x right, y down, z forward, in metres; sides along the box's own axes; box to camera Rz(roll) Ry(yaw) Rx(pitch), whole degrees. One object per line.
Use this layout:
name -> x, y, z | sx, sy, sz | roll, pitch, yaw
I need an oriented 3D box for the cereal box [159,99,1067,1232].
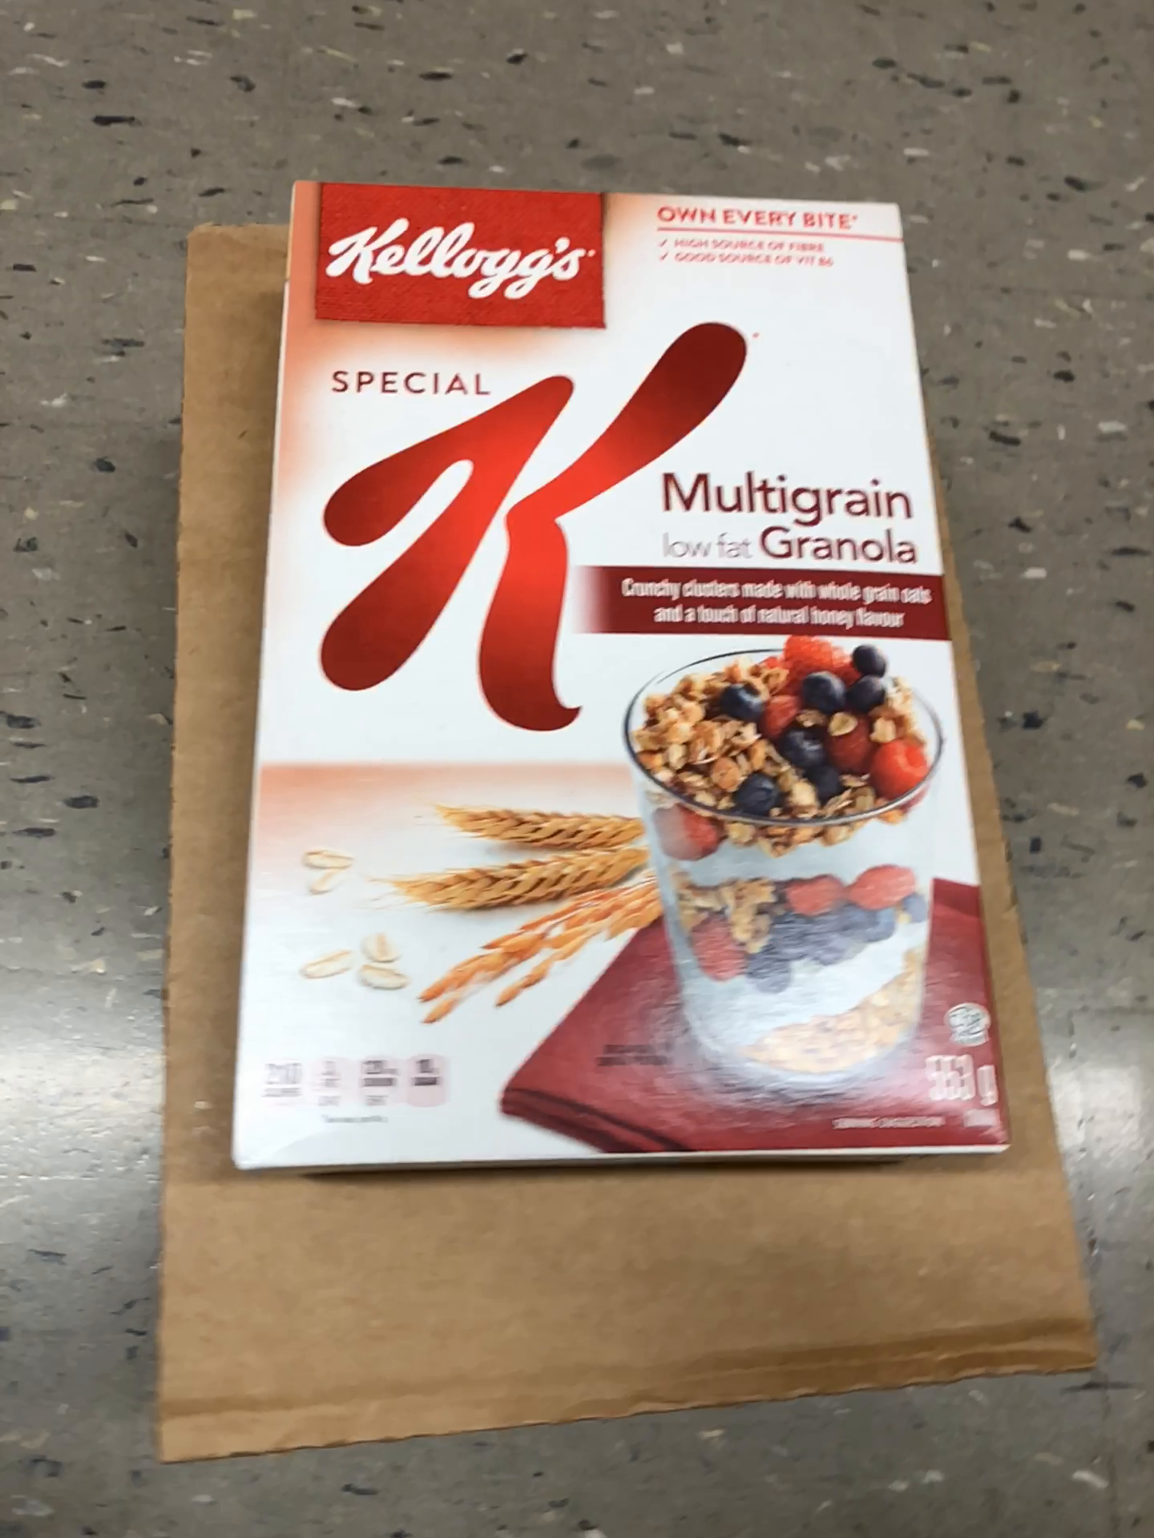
cereal box -> 0.004, -0.031, 0.319 | 0.180, 0.050, 0.270 | 2, 69, -11
